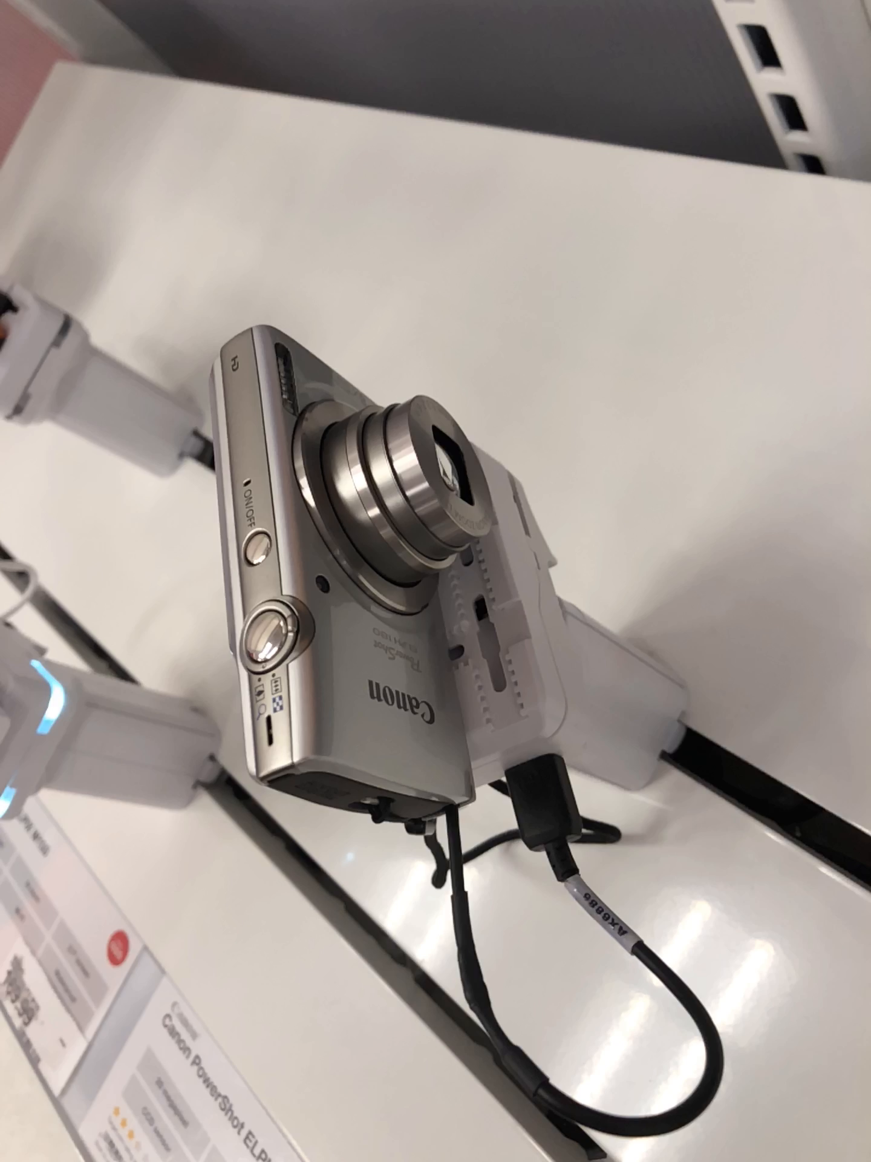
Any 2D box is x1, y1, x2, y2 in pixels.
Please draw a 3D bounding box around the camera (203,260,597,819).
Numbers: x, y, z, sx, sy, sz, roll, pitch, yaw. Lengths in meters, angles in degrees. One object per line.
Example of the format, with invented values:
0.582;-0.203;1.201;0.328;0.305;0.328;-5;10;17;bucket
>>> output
-0.009;-0.005;0.194;0.042;0.055;0.089;-25;59;26;camera
